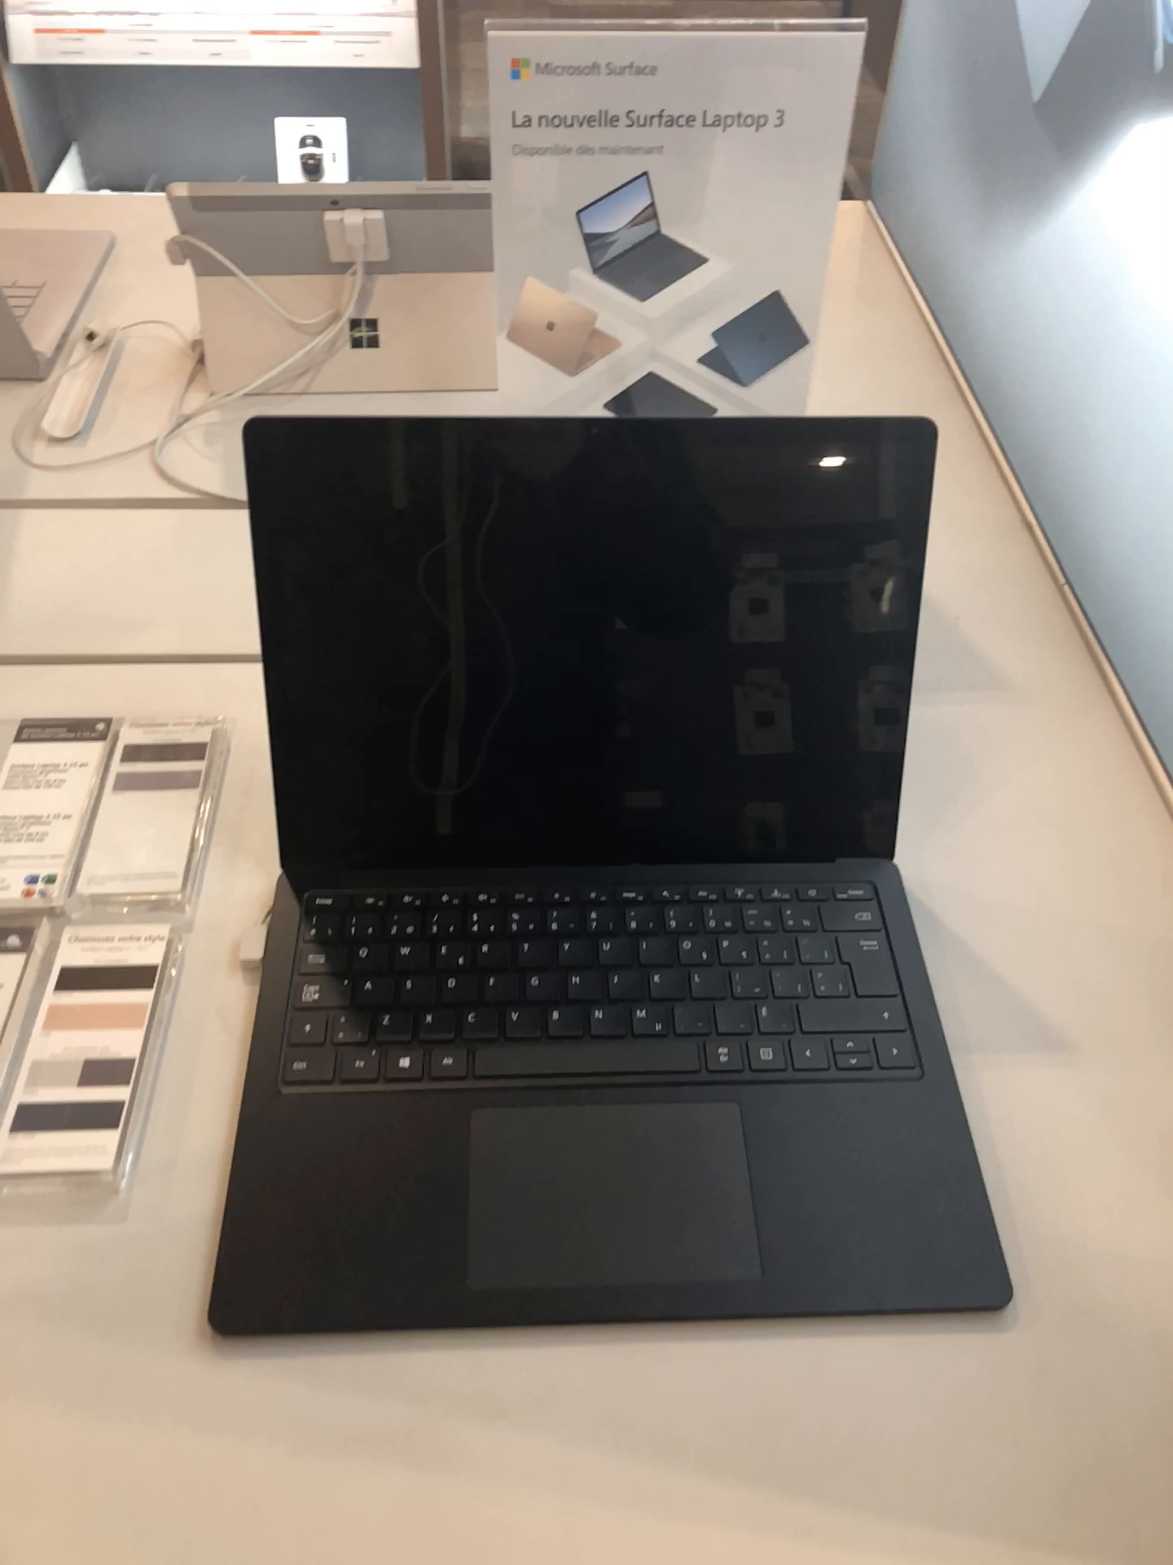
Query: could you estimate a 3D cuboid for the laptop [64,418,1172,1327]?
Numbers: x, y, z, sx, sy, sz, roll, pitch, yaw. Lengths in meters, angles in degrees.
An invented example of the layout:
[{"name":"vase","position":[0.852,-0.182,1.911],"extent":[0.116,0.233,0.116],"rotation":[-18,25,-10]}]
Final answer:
[{"name":"laptop","position":[0.007,0.019,0.531],"extent":[0.308,0.197,0.315],"rotation":[-1,45,-3]}]
